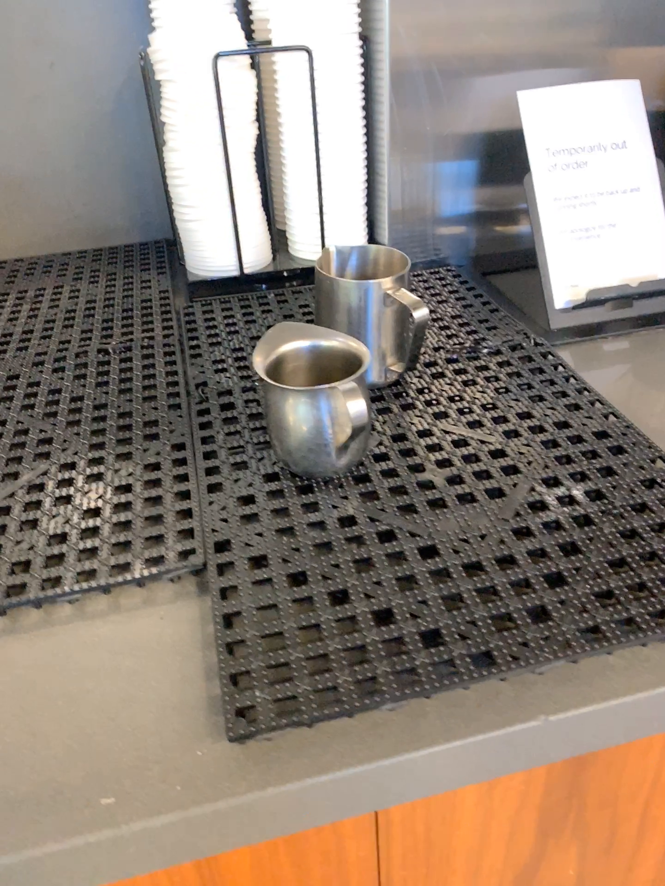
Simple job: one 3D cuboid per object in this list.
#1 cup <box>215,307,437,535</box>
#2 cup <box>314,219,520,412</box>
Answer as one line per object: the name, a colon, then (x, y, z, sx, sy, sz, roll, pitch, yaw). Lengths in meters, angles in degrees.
cup: (-0.007, -0.020, 0.410, 0.080, 0.070, 0.121, -19, 37, -21)
cup: (0.054, -0.094, 0.474, 0.080, 0.079, 0.121, -20, 38, -23)
